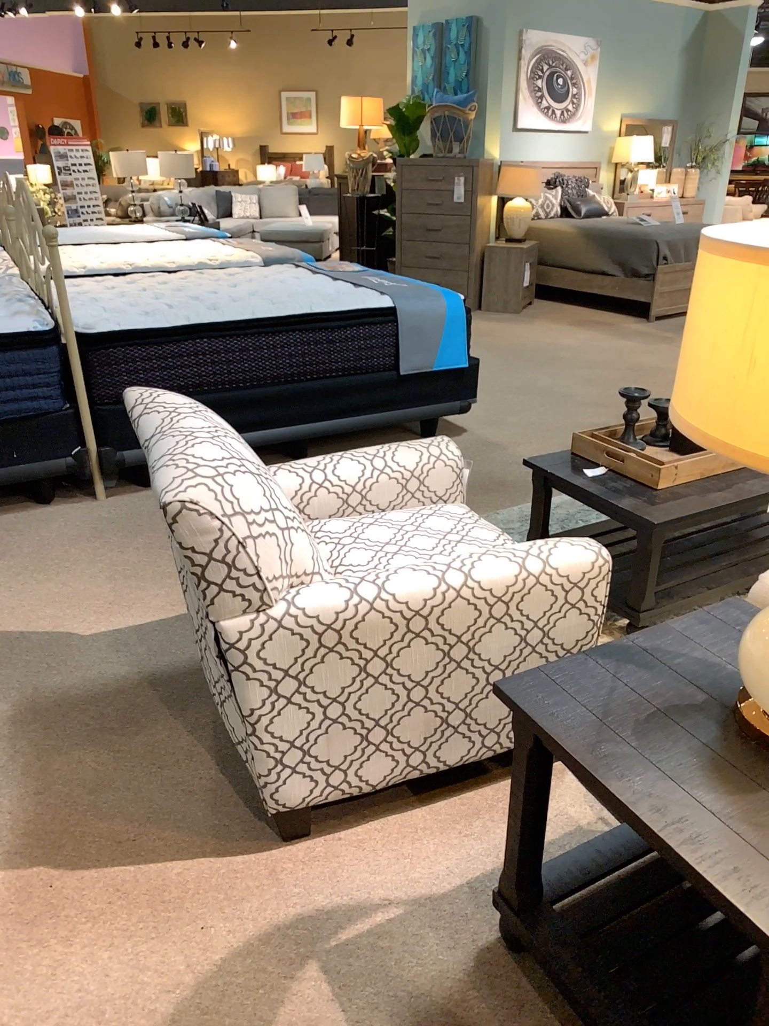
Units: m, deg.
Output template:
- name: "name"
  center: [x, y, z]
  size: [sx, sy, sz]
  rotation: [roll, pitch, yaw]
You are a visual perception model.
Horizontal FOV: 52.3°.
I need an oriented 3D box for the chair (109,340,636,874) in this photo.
- name: "chair"
  center: [-0.098, 0.113, 1.978]
  size: [0.965, 0.847, 0.878]
  rotation: [-9, 26, -20]
